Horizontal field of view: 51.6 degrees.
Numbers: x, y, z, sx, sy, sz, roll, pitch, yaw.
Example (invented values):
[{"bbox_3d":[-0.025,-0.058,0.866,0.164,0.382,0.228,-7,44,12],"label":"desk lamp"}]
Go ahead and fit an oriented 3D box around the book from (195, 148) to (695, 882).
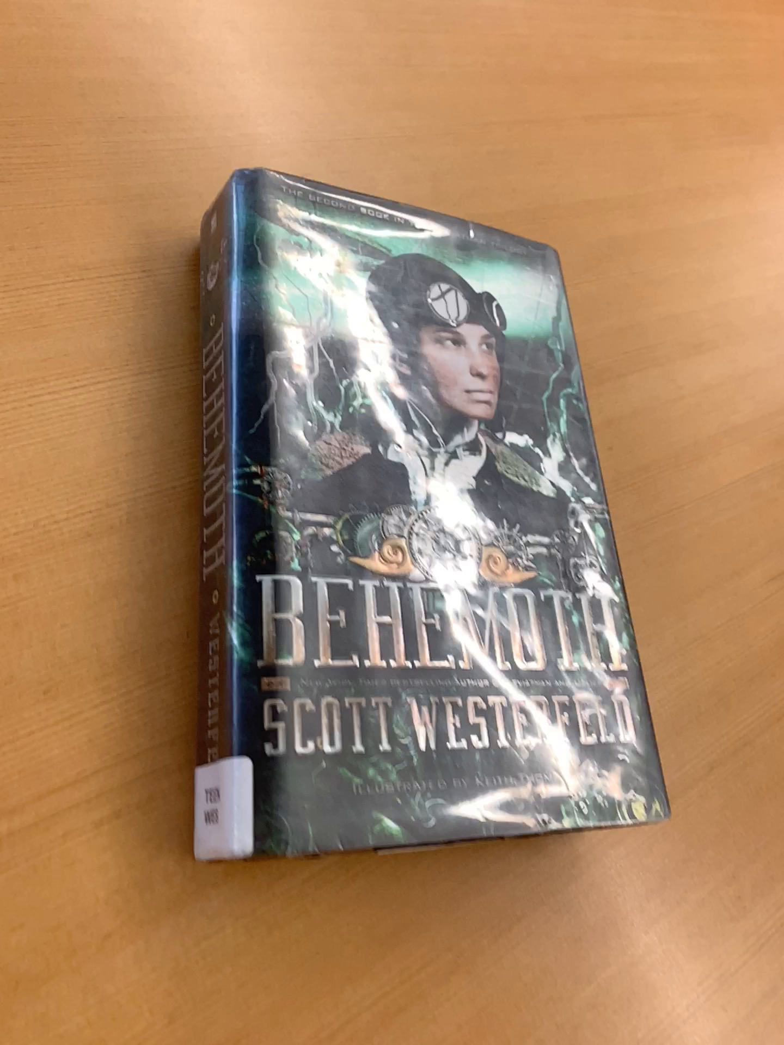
[{"bbox_3d":[0.009,-0.008,0.297,0.150,0.050,0.241,5,66,-24],"label":"book"}]
